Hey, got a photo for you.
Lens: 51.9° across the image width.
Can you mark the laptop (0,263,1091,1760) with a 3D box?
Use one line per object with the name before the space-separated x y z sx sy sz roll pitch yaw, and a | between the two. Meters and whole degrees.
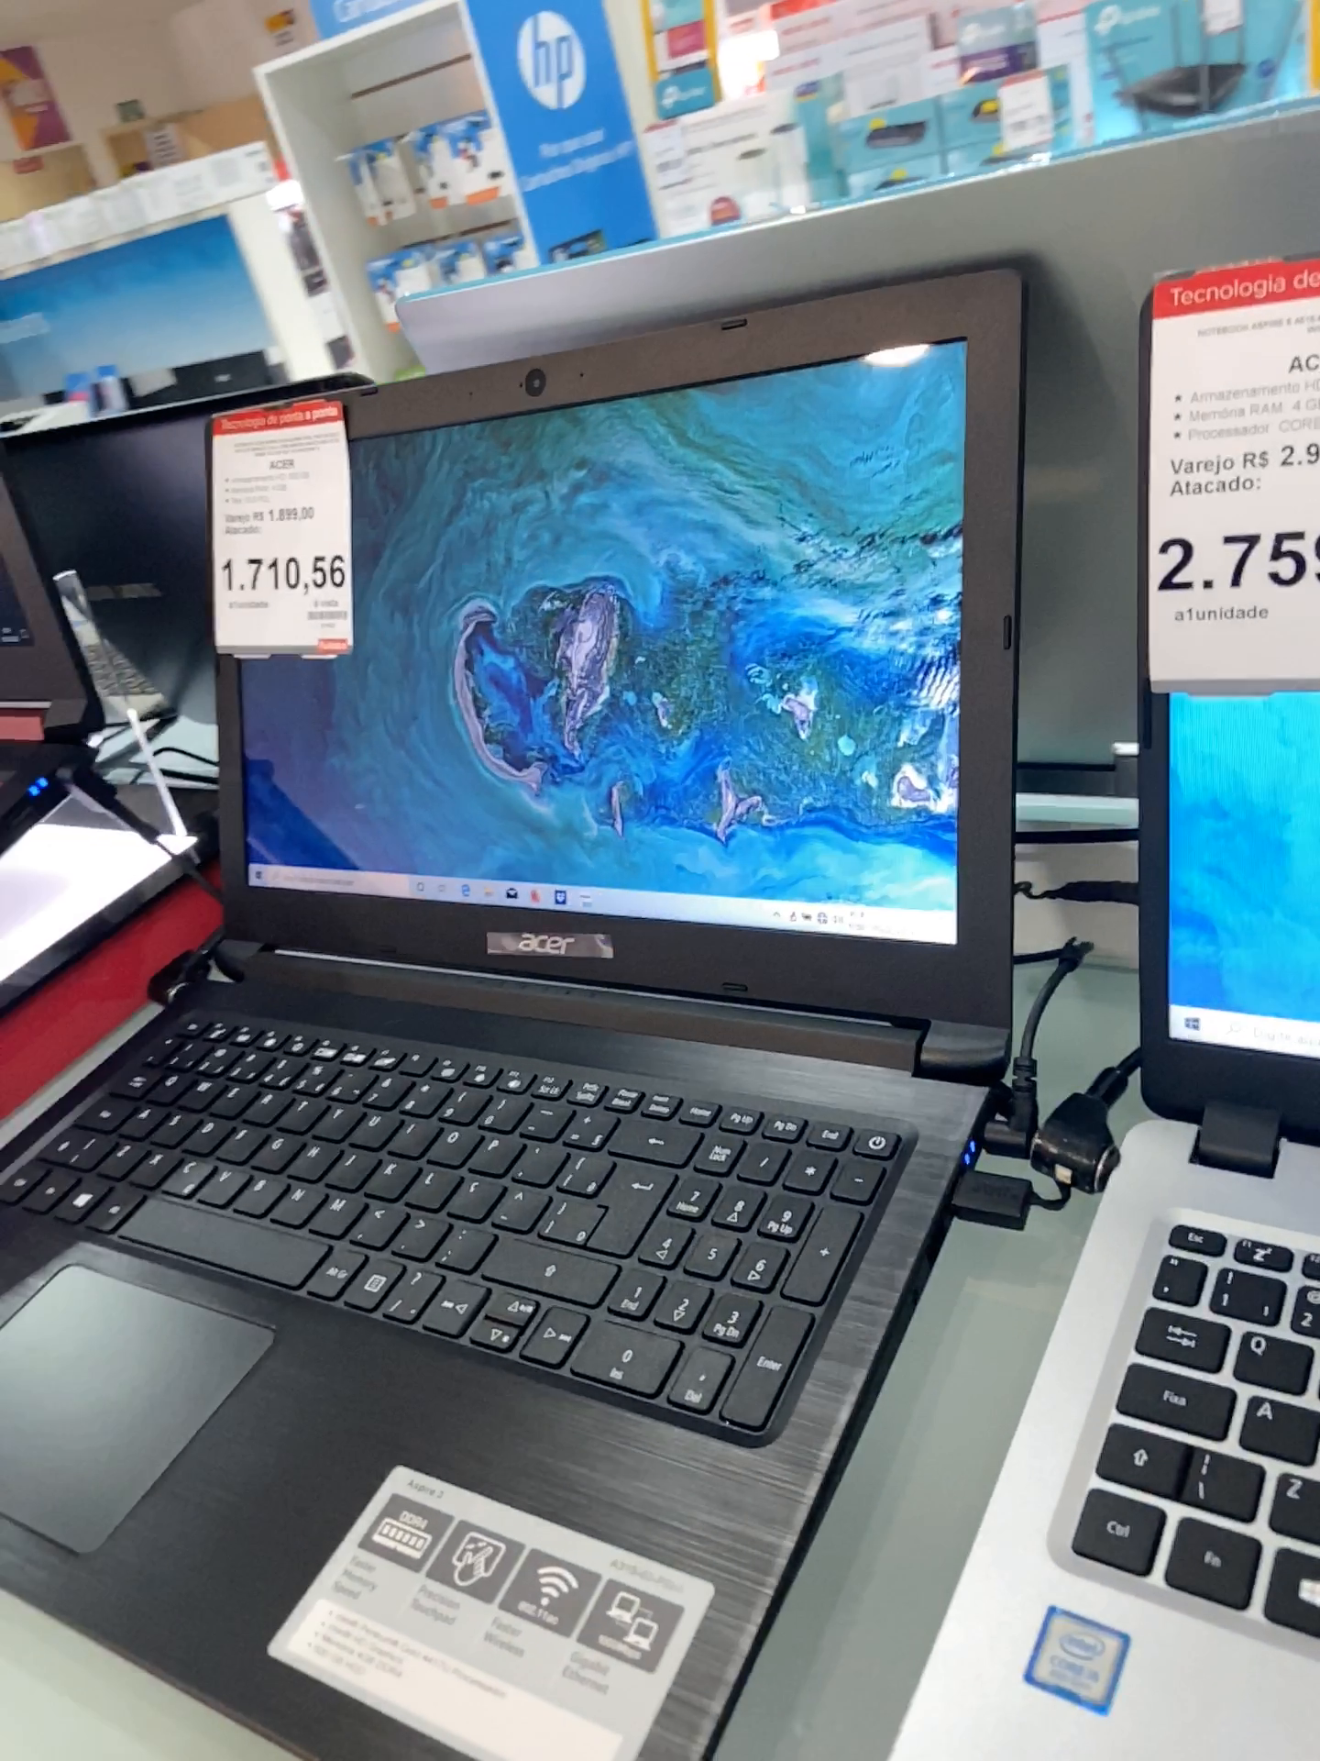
laptop | -0.107 -0.006 0.443 0.377 0.216 0.381 3 35 32
